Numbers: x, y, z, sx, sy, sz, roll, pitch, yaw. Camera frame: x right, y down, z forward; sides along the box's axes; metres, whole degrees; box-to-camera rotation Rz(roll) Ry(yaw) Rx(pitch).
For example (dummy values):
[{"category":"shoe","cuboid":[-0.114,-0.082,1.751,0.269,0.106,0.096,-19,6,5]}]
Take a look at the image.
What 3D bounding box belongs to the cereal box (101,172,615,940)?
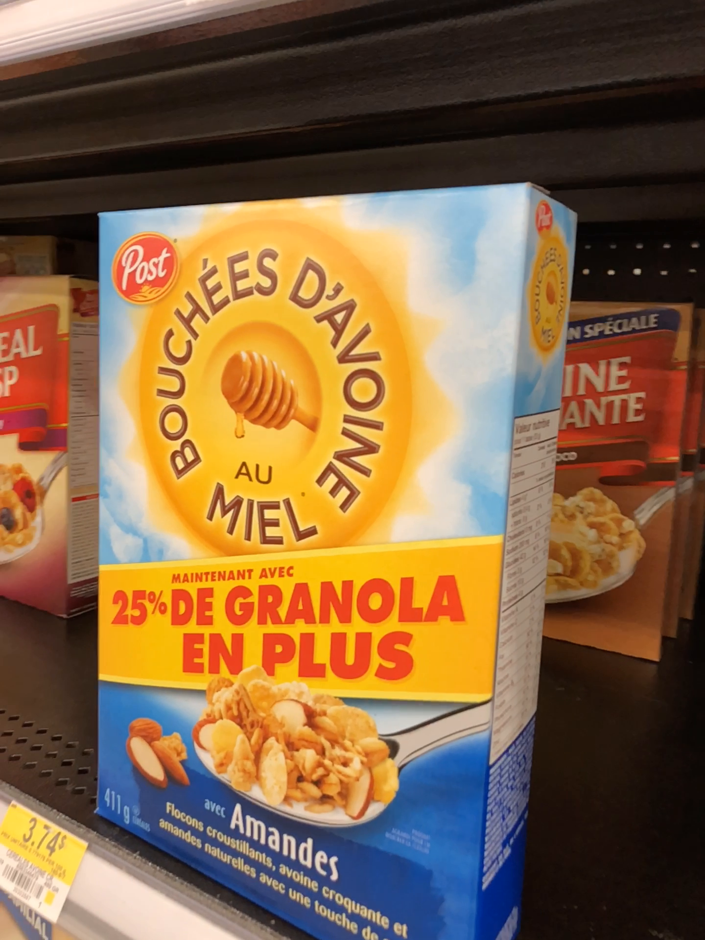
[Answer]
[{"category":"cereal box","cuboid":[-0.014,0.035,0.312,0.190,0.269,0.060,9,10,34]}]
